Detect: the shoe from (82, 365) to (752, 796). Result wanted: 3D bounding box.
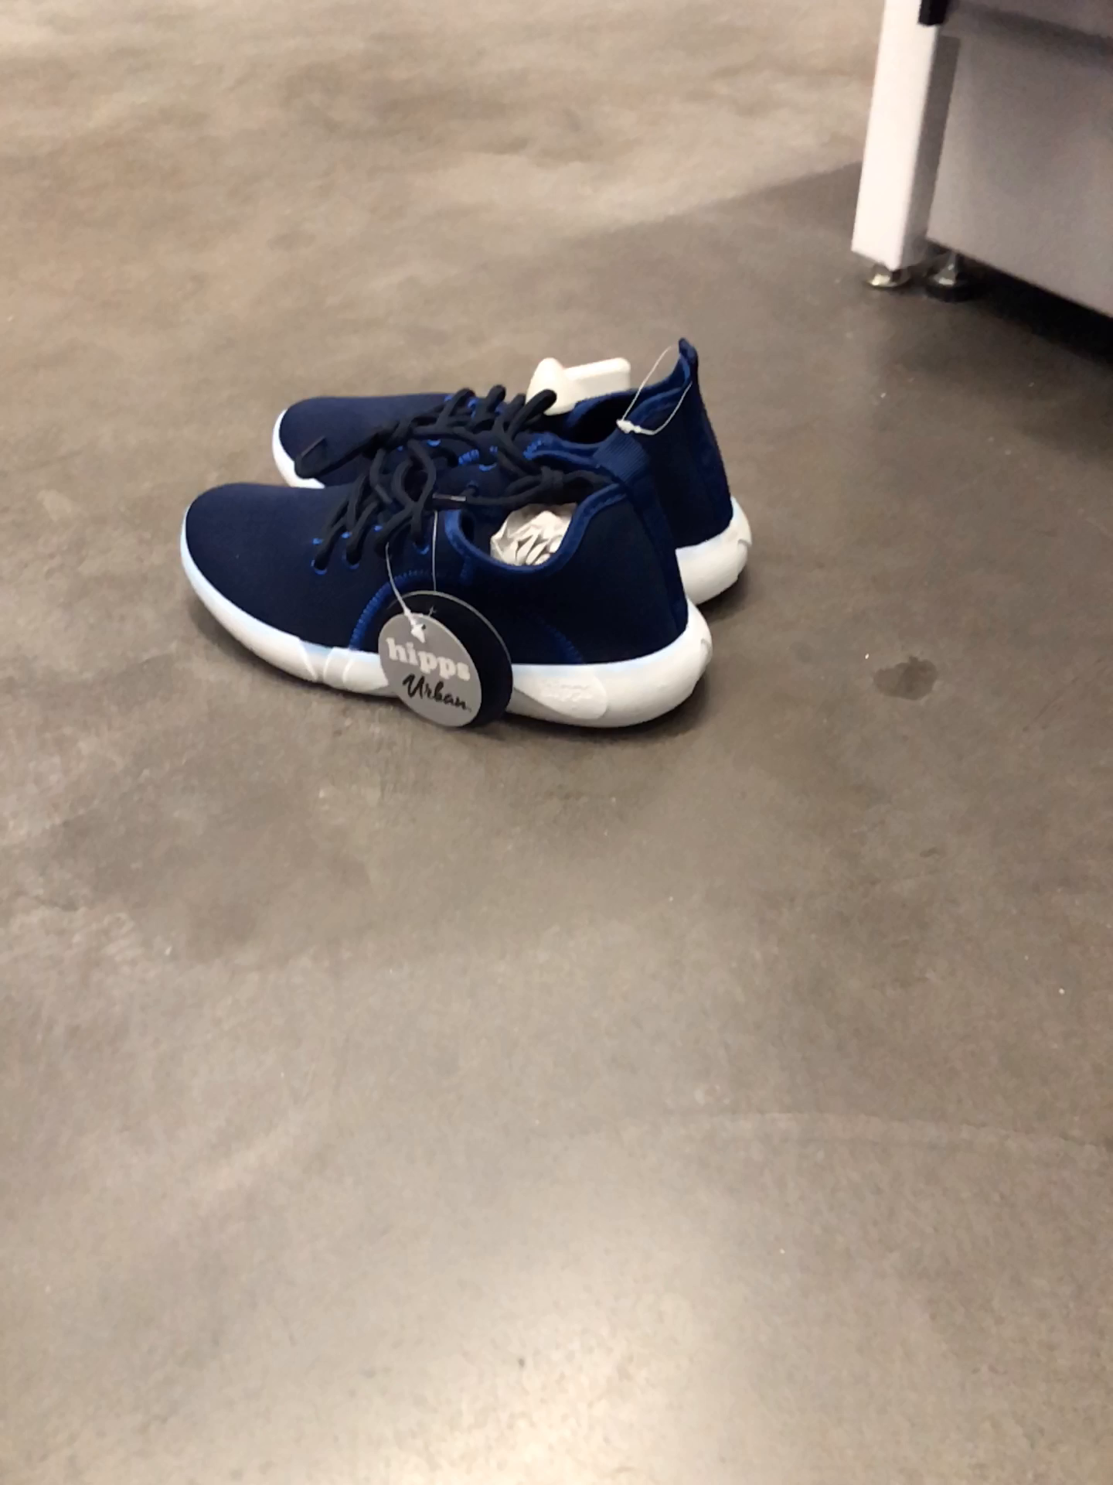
[{"bbox_3d":[-0.054,-0.072,0.494,0.240,0.089,0.091,16,45,18],"label":"shoe"}]

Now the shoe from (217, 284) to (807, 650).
[{"bbox_3d":[-0.020,-0.131,0.559,0.240,0.089,0.091,16,45,18],"label":"shoe"}]
